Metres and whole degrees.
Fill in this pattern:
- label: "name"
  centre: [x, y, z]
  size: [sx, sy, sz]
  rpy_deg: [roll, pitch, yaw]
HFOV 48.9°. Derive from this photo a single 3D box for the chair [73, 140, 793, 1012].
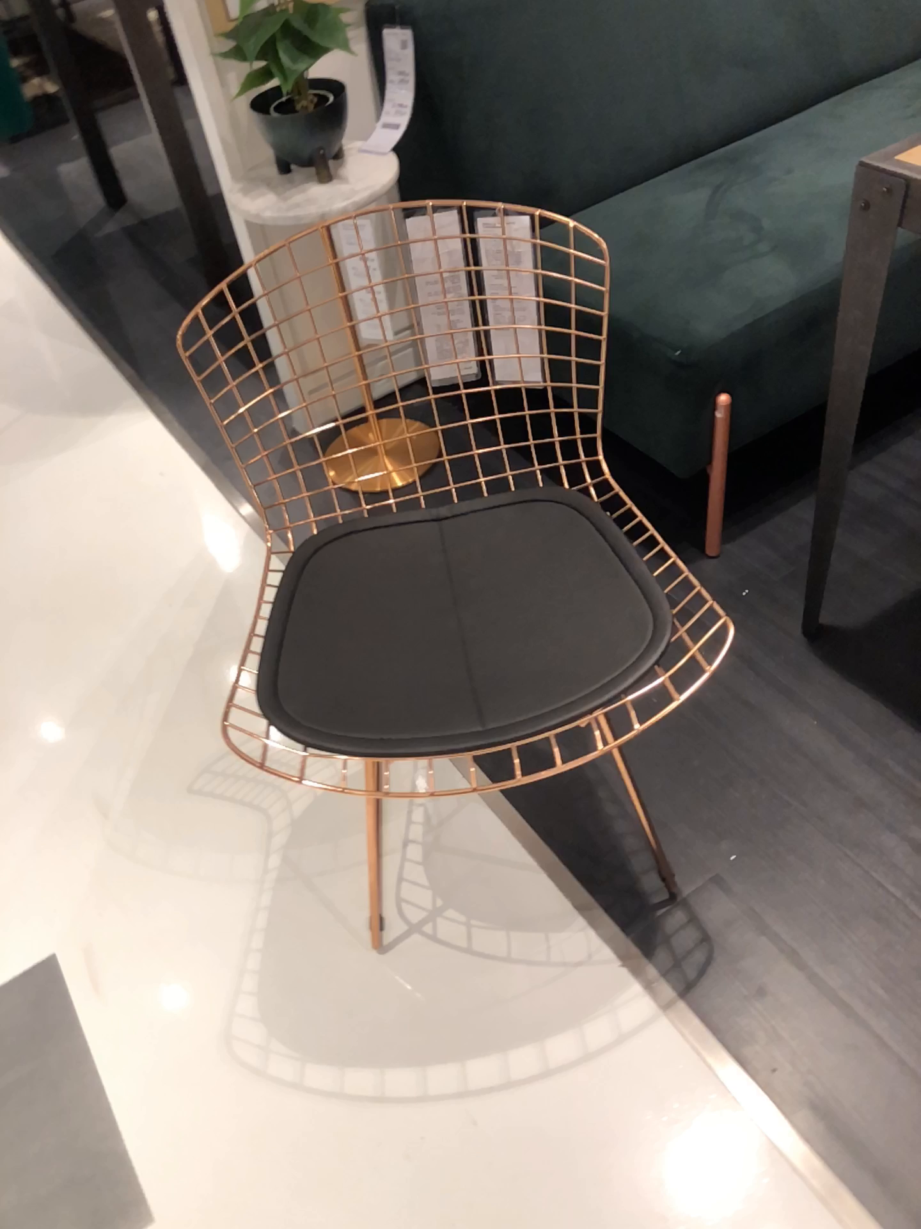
- label: "chair"
  centre: [-0.007, -0.018, 1.169]
  size: [0.520, 0.745, 0.544]
  rpy_deg: [-12, 44, -1]
